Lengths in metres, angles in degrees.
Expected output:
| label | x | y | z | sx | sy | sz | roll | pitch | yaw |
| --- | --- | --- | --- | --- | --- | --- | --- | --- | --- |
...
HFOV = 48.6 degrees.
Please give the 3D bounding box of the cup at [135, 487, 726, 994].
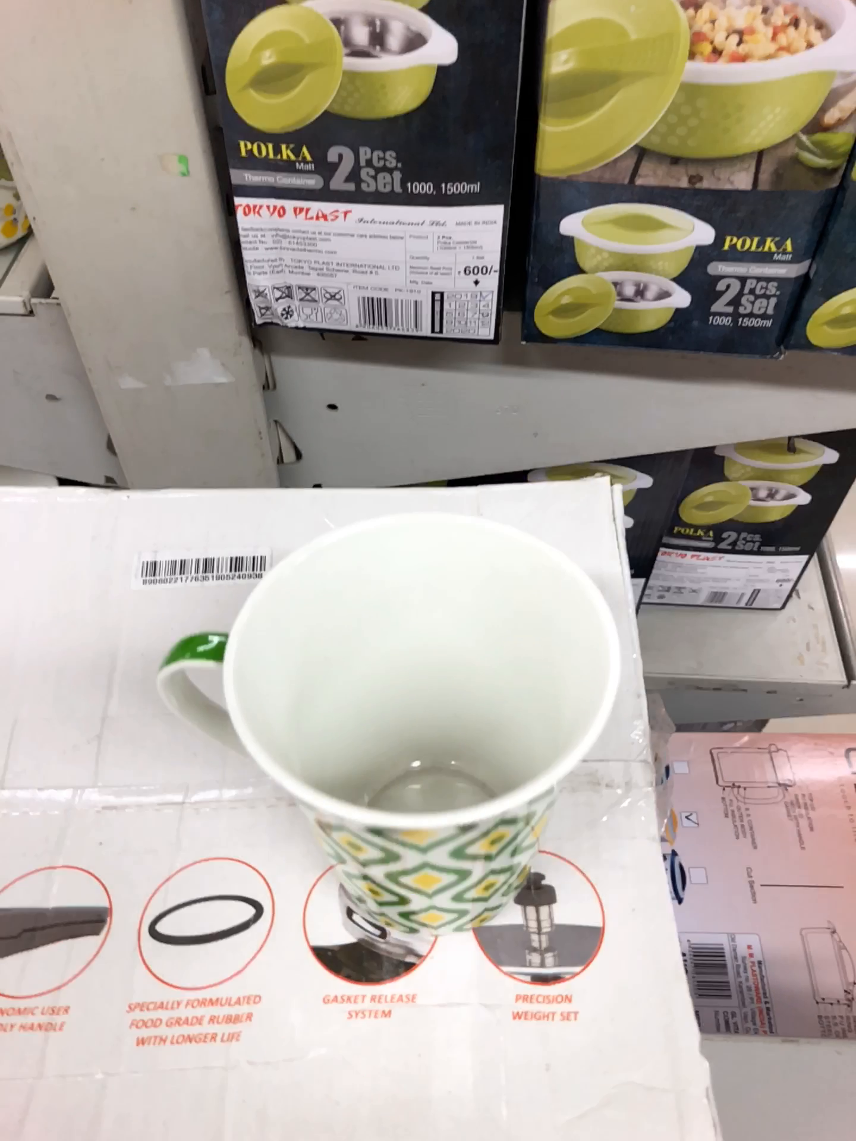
| label | x | y | z | sx | sy | sz | roll | pitch | yaw |
| --- | --- | --- | --- | --- | --- | --- | --- | --- | --- |
| cup | 0.001 | 0.043 | 0.240 | 0.110 | 0.090 | 0.090 | 1 | 47 | 1 |
